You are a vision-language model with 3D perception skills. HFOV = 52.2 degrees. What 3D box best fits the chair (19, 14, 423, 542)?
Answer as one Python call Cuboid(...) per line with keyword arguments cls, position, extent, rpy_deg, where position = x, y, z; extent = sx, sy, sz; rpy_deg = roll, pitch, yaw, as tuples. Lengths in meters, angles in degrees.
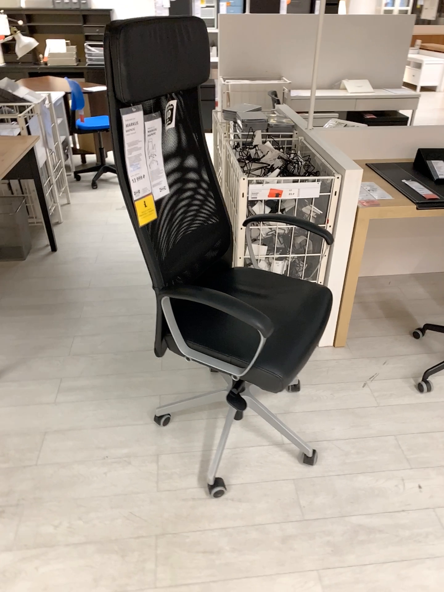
Cuboid(cls="chair", position=(0.065, -0.090, 1.372), extent=(0.679, 1.293, 0.725), rpy_deg=(14, 34, 21))
